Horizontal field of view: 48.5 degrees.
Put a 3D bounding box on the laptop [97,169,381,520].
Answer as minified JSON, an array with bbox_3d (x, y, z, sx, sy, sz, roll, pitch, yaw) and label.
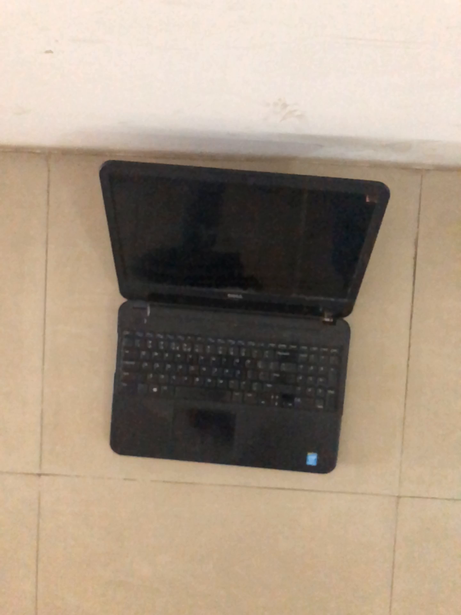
[{"bbox_3d":[0.010,0.045,0.711,0.322,0.166,0.408,4,93,0],"label":"laptop"}]
